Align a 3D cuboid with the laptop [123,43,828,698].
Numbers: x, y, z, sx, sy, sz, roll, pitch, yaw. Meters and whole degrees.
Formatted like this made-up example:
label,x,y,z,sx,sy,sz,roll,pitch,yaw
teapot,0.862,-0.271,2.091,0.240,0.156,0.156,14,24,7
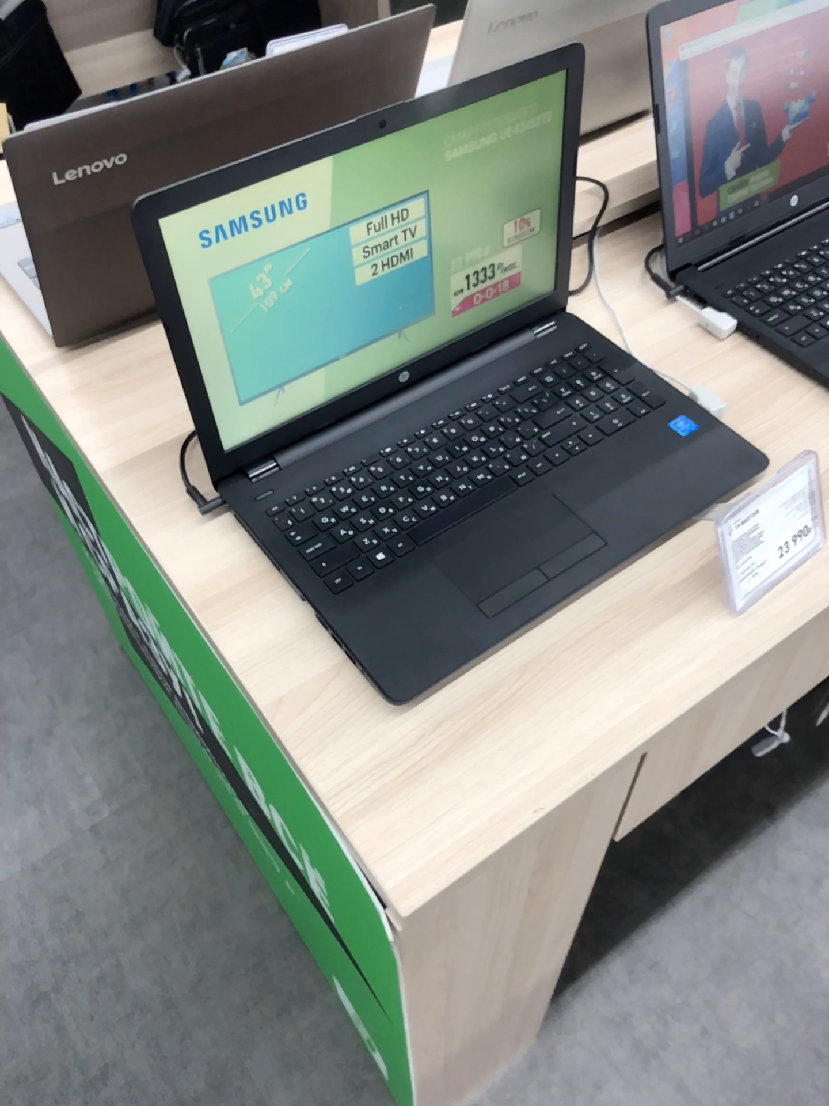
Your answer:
label,x,y,z,sx,sy,sz,roll,pitch,yaw
laptop,0.048,-0.147,0.652,0.362,0.222,0.274,-30,57,-22
